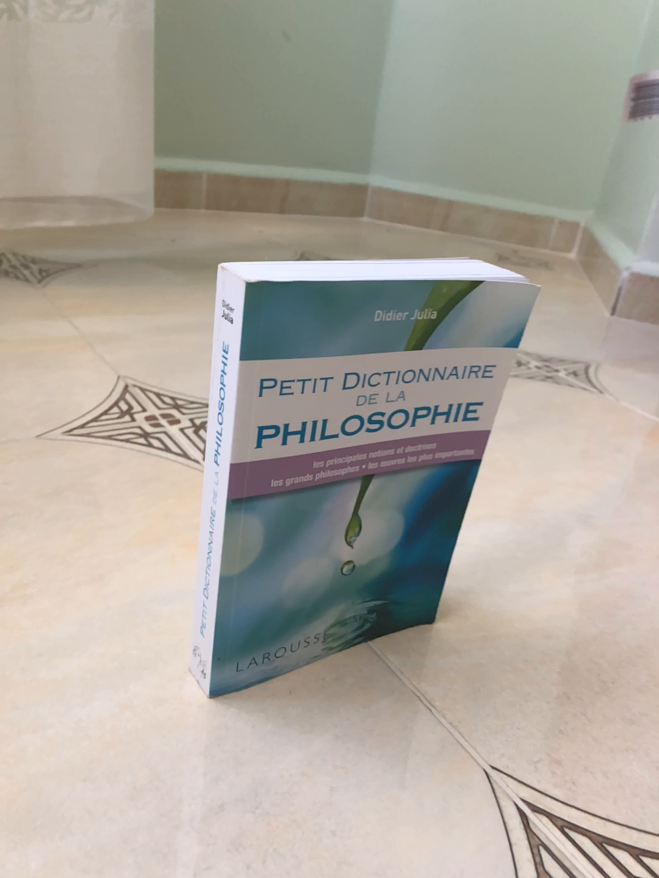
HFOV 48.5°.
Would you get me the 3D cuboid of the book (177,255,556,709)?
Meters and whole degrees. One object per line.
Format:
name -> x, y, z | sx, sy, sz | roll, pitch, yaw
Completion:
book -> 0.012, 0.016, 0.319 | 0.140, 0.185, 0.034 | -9, 32, -32
